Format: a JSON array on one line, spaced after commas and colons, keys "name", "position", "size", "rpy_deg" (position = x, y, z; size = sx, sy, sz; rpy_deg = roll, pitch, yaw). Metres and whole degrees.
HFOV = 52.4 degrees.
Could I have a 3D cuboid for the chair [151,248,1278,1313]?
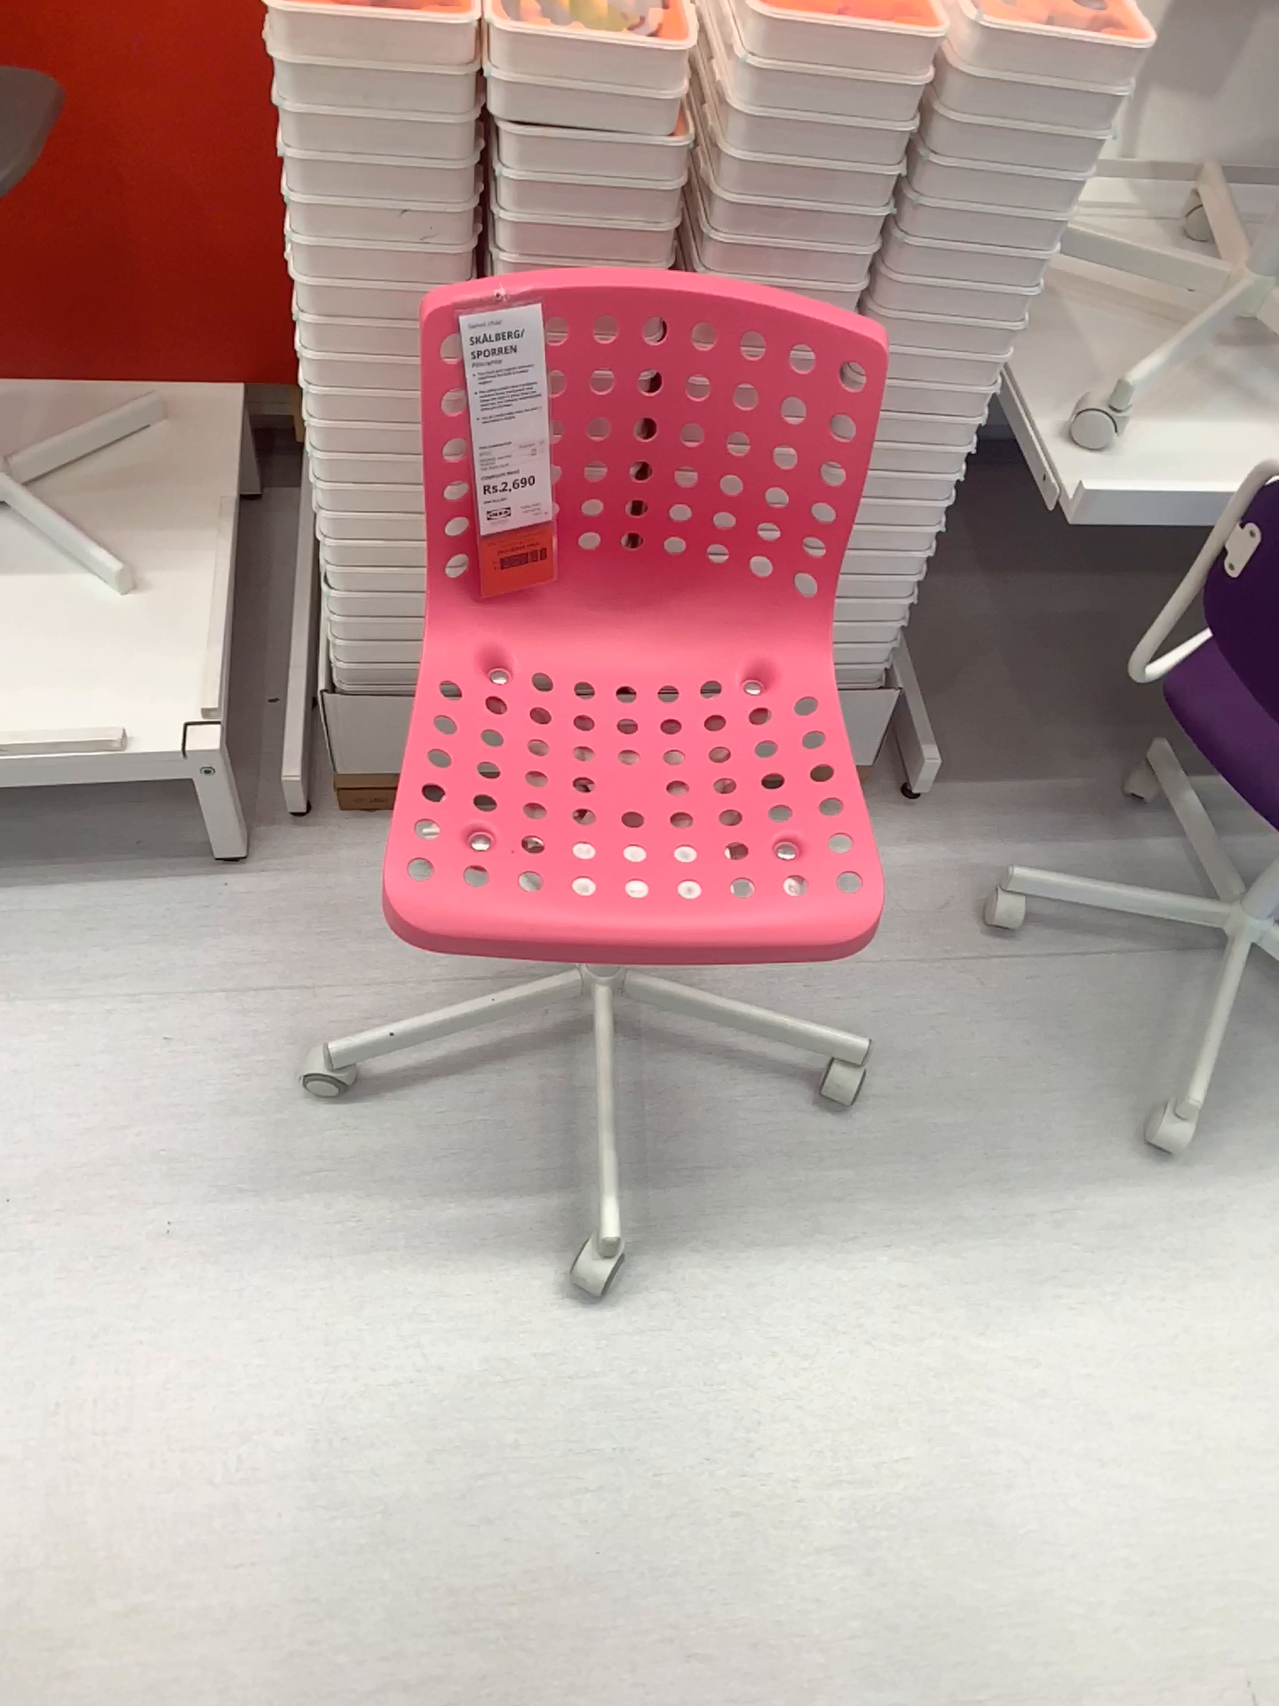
[{"name": "chair", "position": [0.014, -0.039, 1.226], "size": [0.670, 0.688, 0.692], "rpy_deg": [0, 52, -6]}]
